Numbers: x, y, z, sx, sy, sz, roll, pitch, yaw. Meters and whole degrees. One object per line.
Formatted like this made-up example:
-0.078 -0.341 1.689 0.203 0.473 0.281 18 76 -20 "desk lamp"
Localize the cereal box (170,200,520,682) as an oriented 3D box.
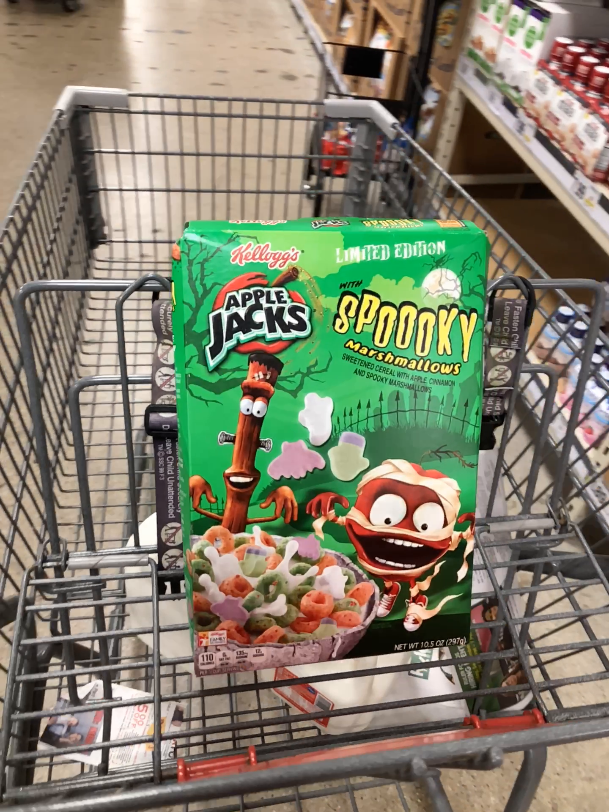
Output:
0.022 0.018 0.432 0.200 0.280 0.070 -3 11 -11 "cereal box"
